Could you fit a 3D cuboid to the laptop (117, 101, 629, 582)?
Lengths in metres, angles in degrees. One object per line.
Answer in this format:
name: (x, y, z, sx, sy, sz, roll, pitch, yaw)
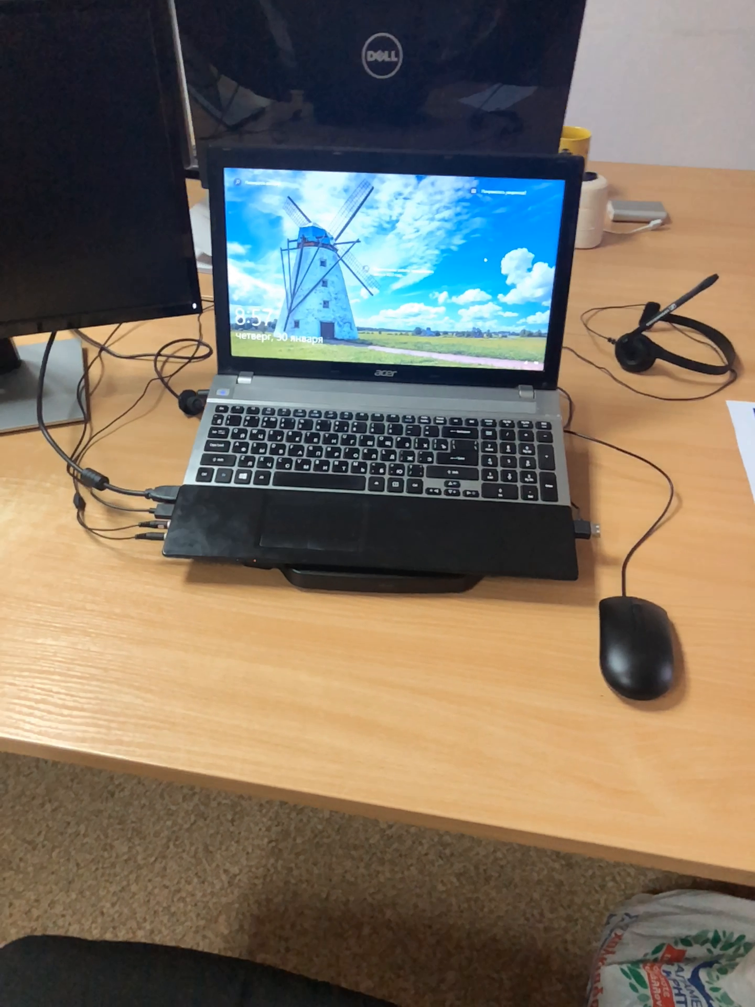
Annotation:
laptop: (0.004, -0.167, 0.780, 0.373, 0.211, 0.361, 3, 49, 2)
